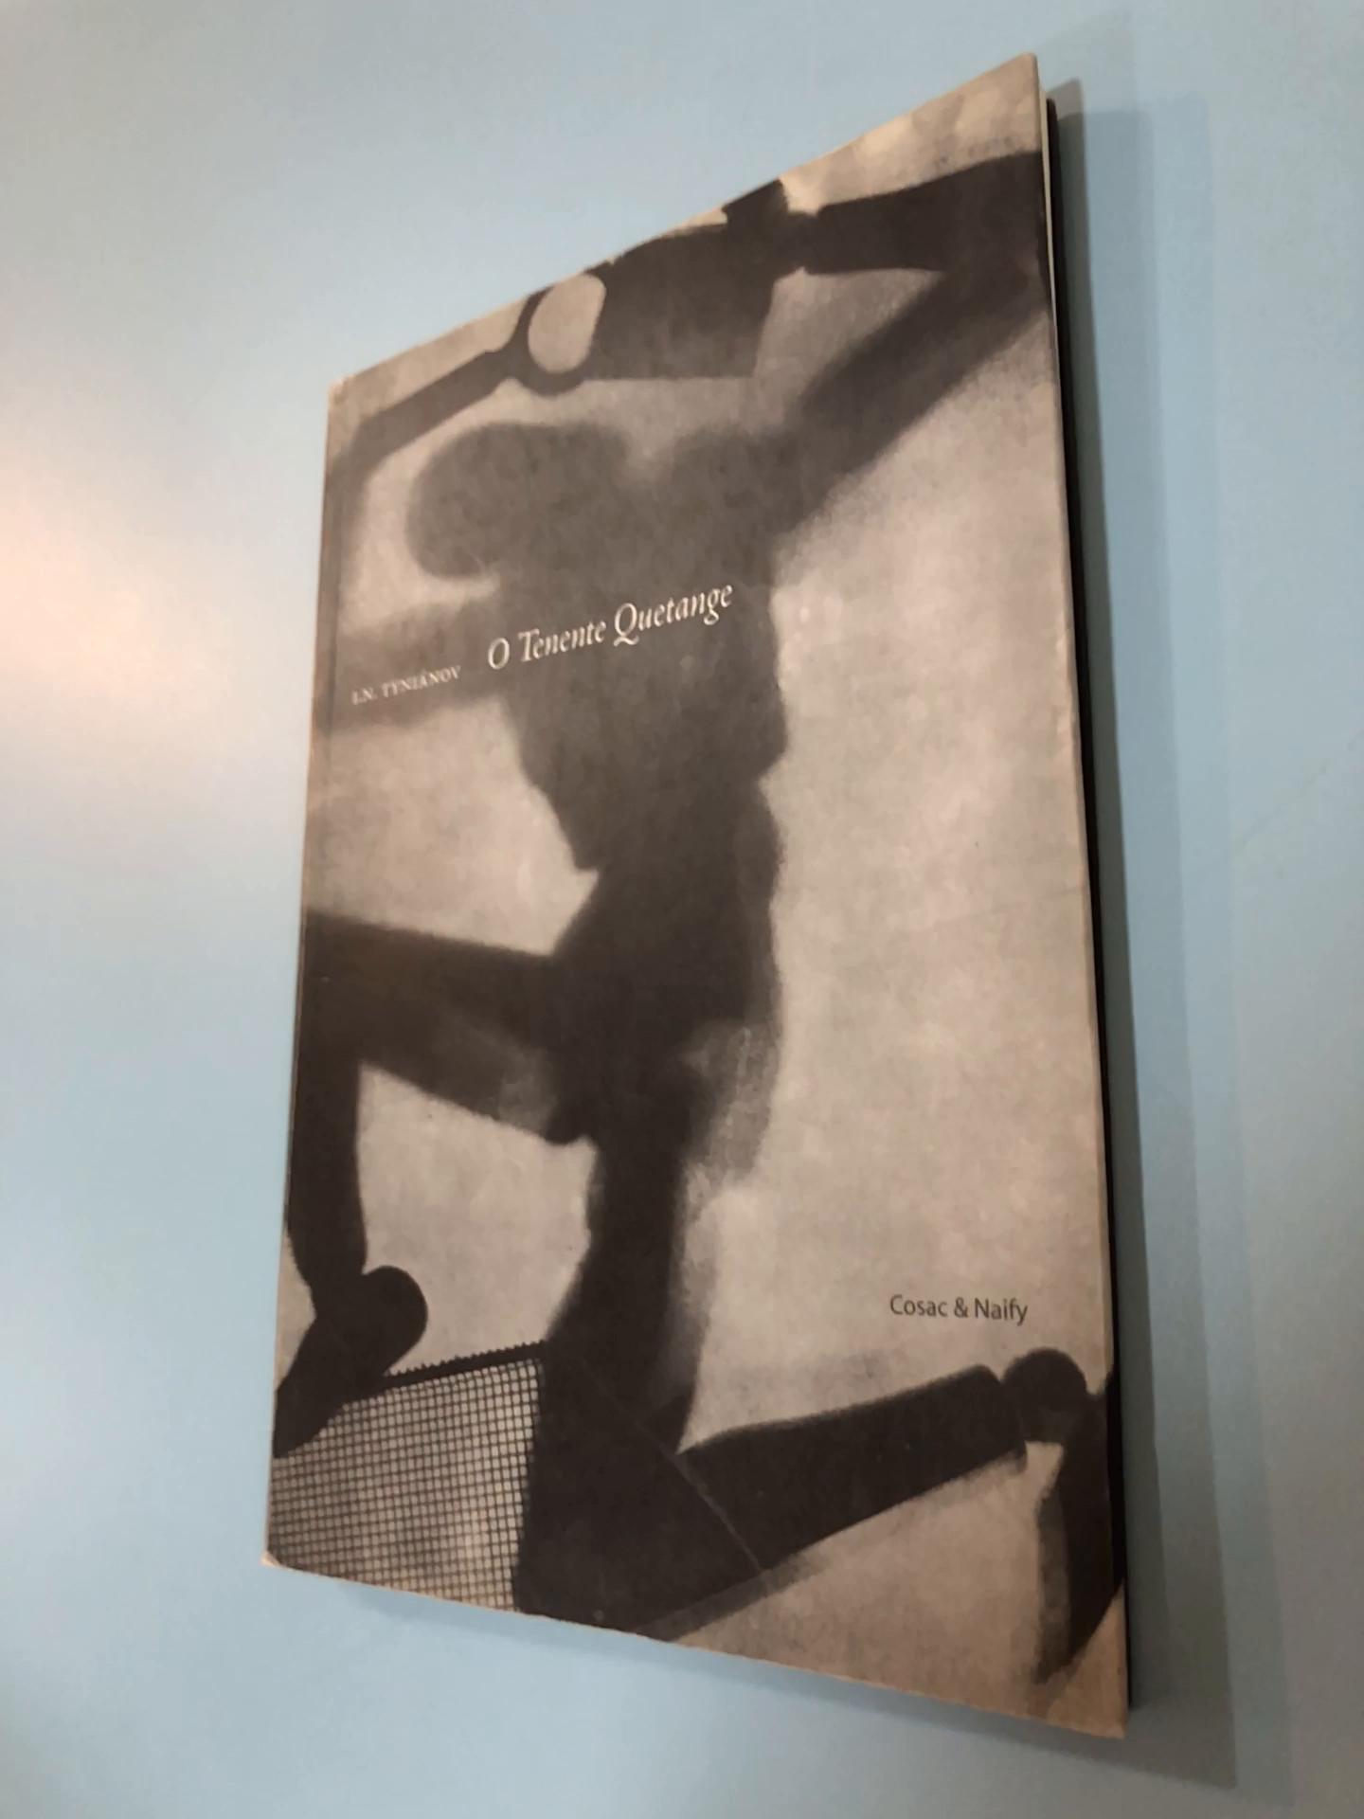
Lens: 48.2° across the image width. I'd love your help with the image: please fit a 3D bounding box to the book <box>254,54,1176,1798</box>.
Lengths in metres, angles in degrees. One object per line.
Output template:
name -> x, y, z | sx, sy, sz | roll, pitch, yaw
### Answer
book -> -0.005, 0.000, 0.215 | 0.135, 0.016, 0.197 | -7, 77, 36
